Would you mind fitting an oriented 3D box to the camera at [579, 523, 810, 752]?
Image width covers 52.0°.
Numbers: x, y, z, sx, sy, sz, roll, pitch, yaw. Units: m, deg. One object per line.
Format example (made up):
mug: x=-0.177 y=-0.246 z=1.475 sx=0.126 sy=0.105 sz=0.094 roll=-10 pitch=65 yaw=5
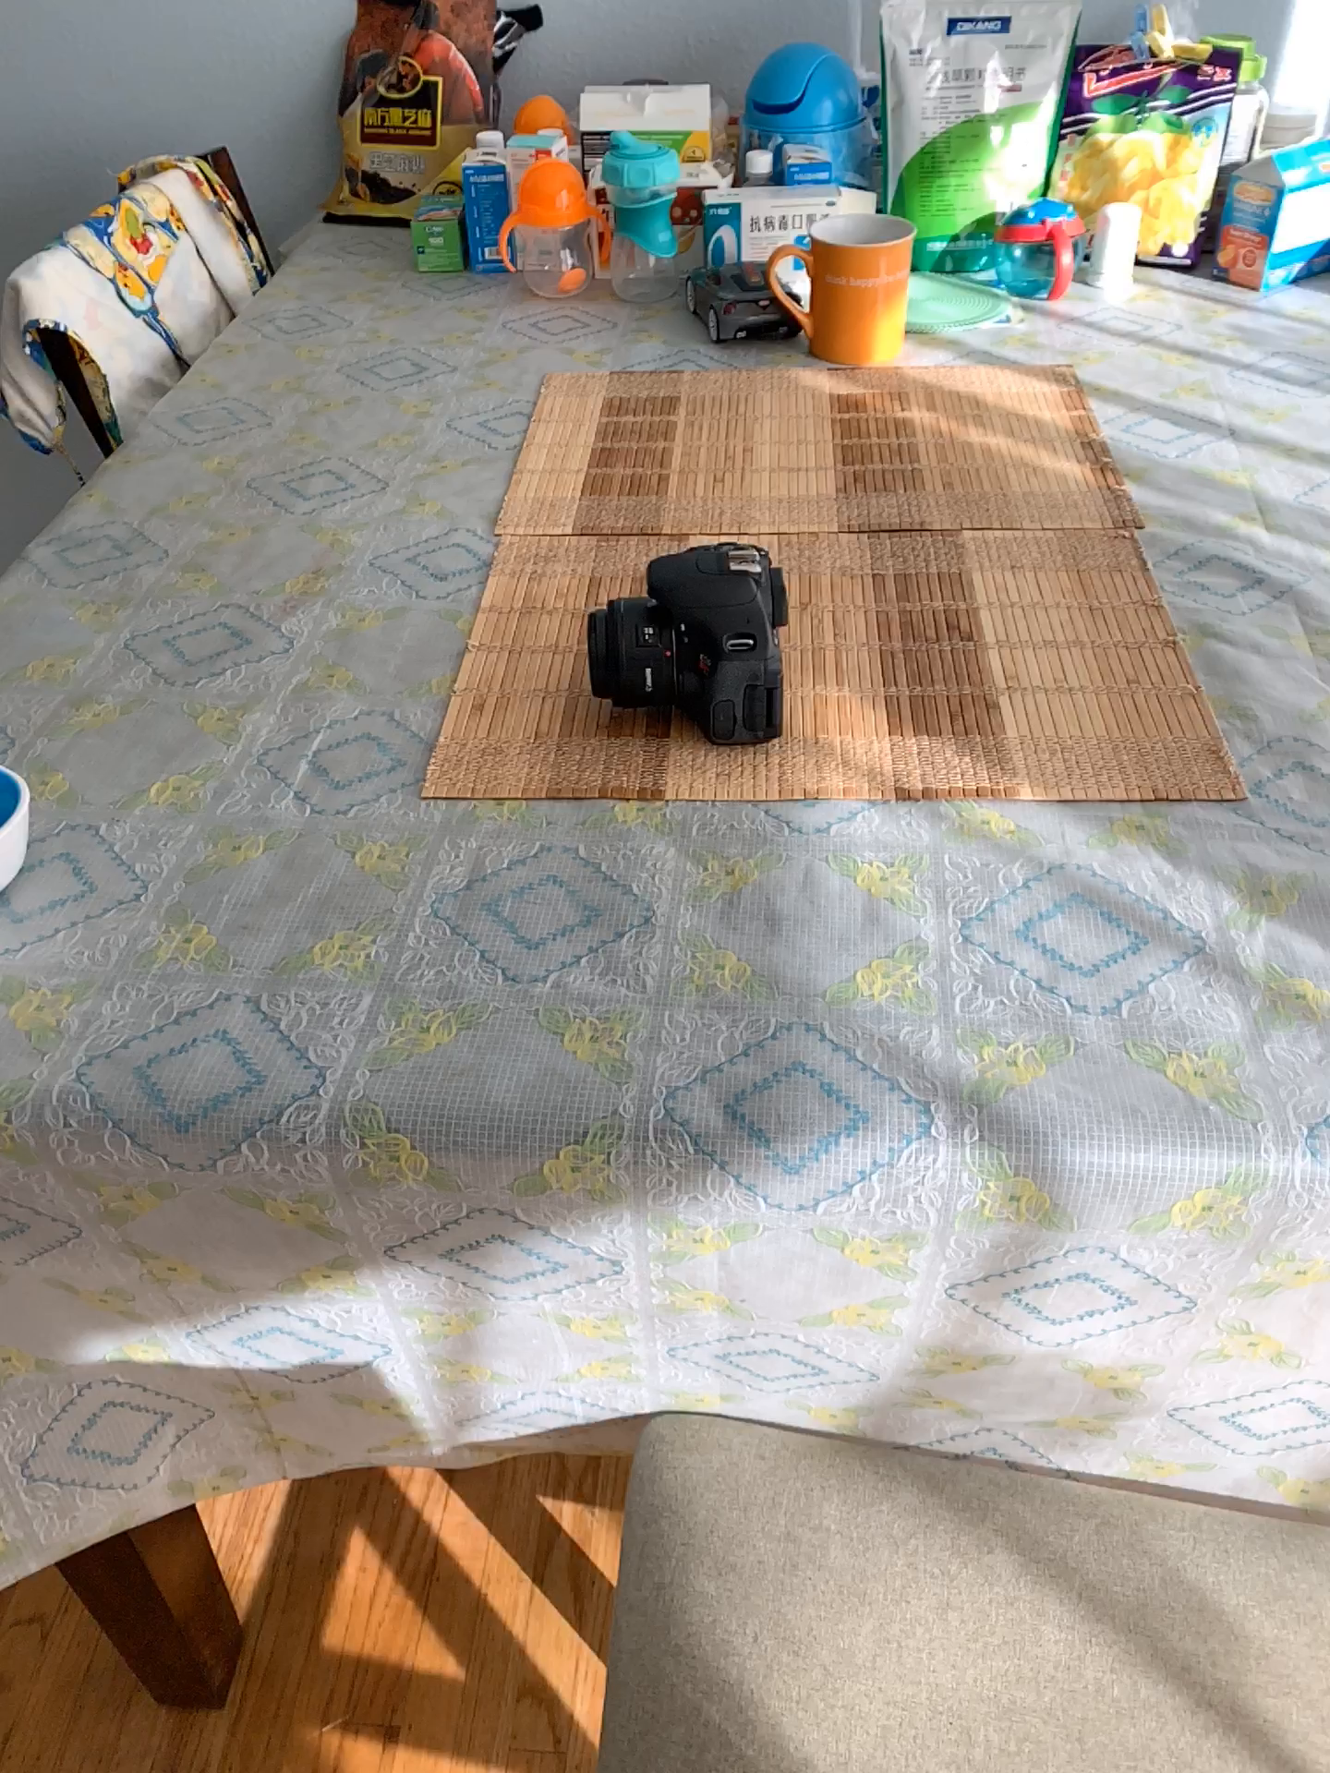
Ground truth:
camera: x=0.018 y=-0.148 z=0.809 sx=0.125 sy=0.092 sz=0.100 roll=-1 pitch=41 yaw=2
